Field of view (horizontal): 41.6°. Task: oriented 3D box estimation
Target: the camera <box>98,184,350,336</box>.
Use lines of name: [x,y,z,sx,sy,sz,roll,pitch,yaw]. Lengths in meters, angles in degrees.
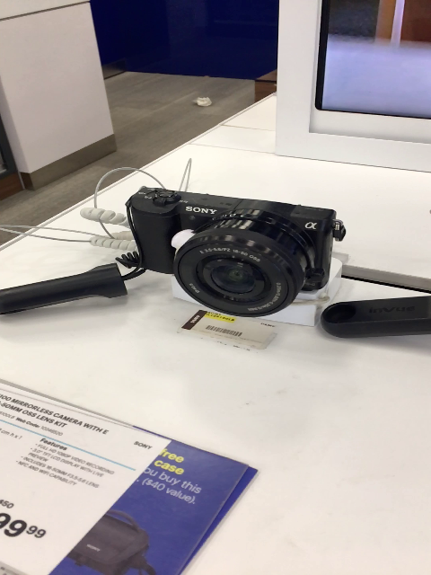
camera: [0.007,-0.018,0.337,0.126,0.064,0.048,10,41,16]
